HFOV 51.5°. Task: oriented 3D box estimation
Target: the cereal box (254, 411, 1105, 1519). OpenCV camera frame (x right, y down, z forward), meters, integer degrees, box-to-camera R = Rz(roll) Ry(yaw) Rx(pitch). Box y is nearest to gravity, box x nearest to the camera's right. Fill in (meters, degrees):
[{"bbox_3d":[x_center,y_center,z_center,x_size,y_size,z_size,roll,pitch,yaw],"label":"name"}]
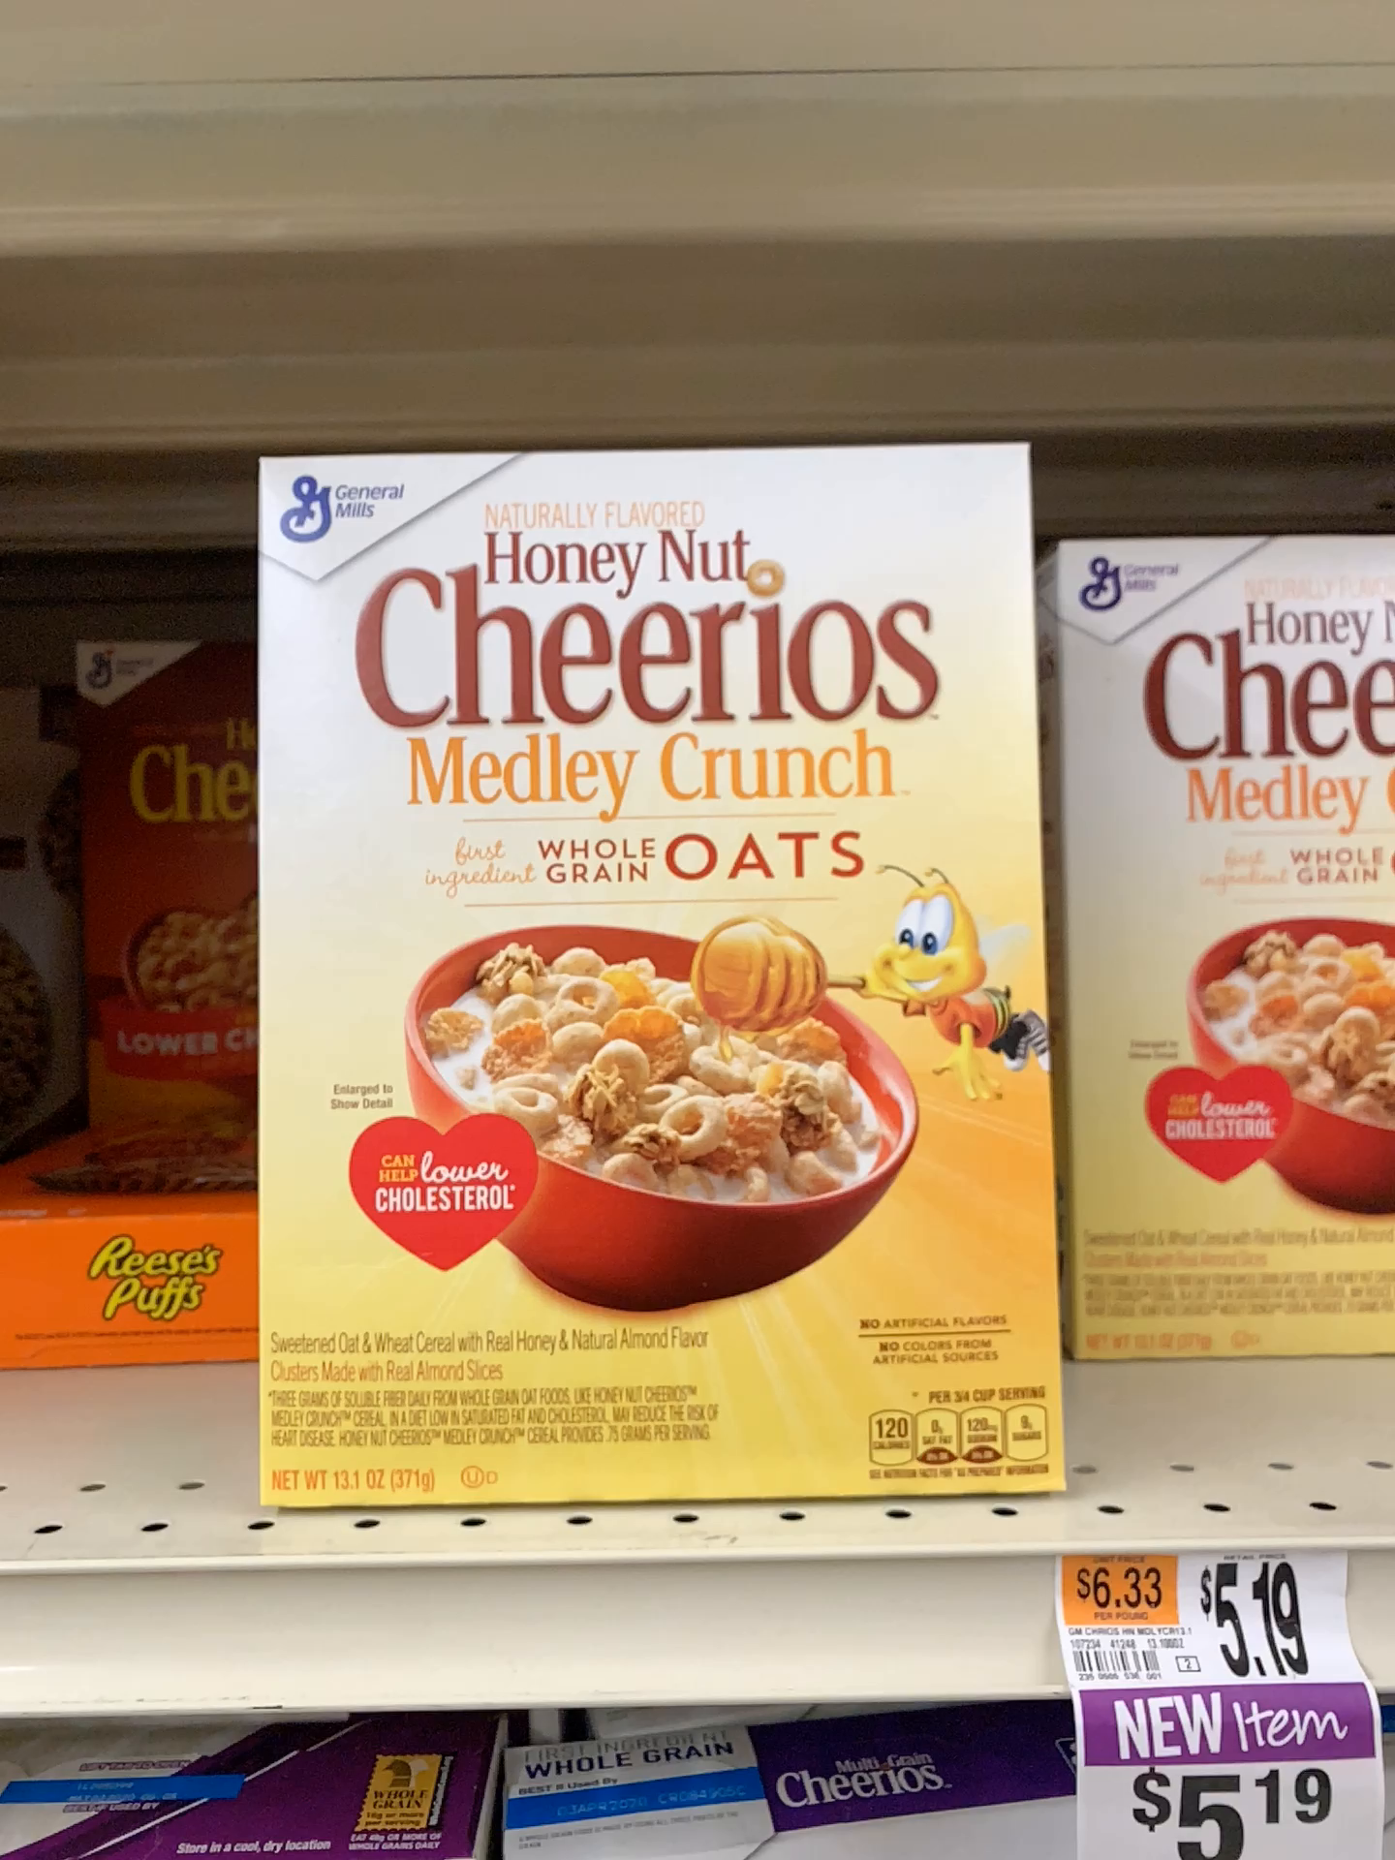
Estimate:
[{"bbox_3d":[-0.007,0.006,0.362,0.190,0.250,0.060,-1,-4,0],"label":"cereal box"}]
